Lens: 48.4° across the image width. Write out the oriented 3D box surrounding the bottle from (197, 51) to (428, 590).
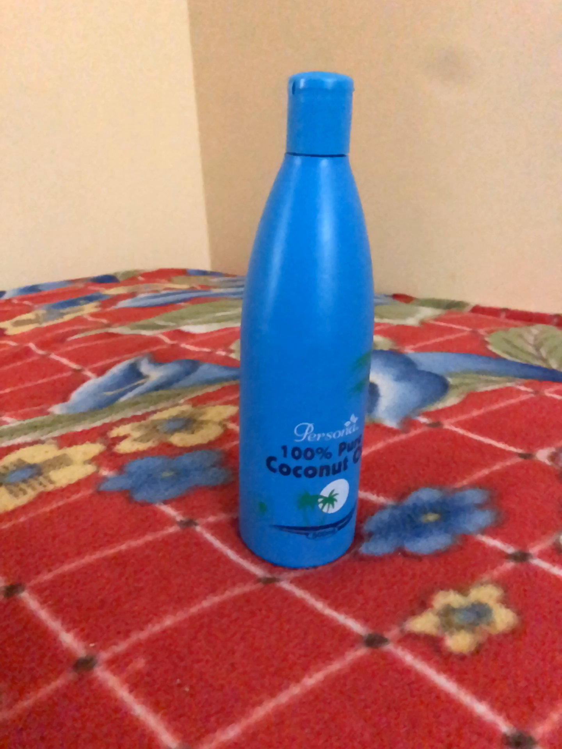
[{"bbox_3d":[0.012,-0.022,0.301,0.070,0.229,0.070,-1,21,0],"label":"bottle"}]
